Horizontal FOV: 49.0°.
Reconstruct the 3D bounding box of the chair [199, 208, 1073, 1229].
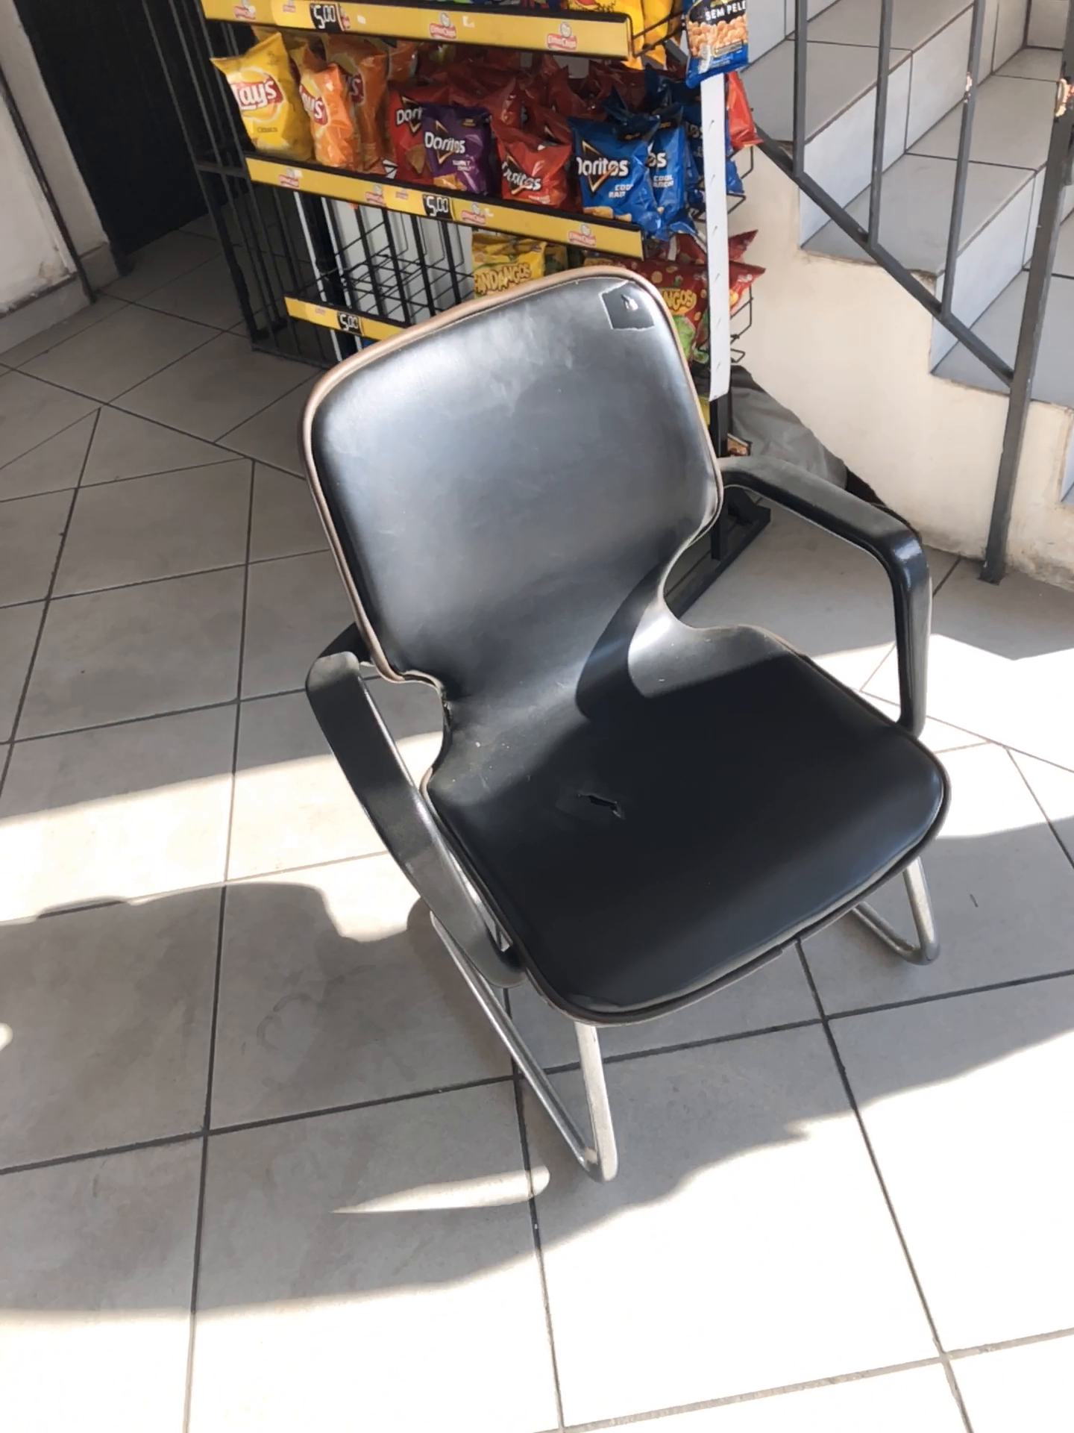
[{"bbox_3d":[0.115,0.006,1.344,0.581,0.825,0.583,-28,47,-17],"label":"chair"}]
